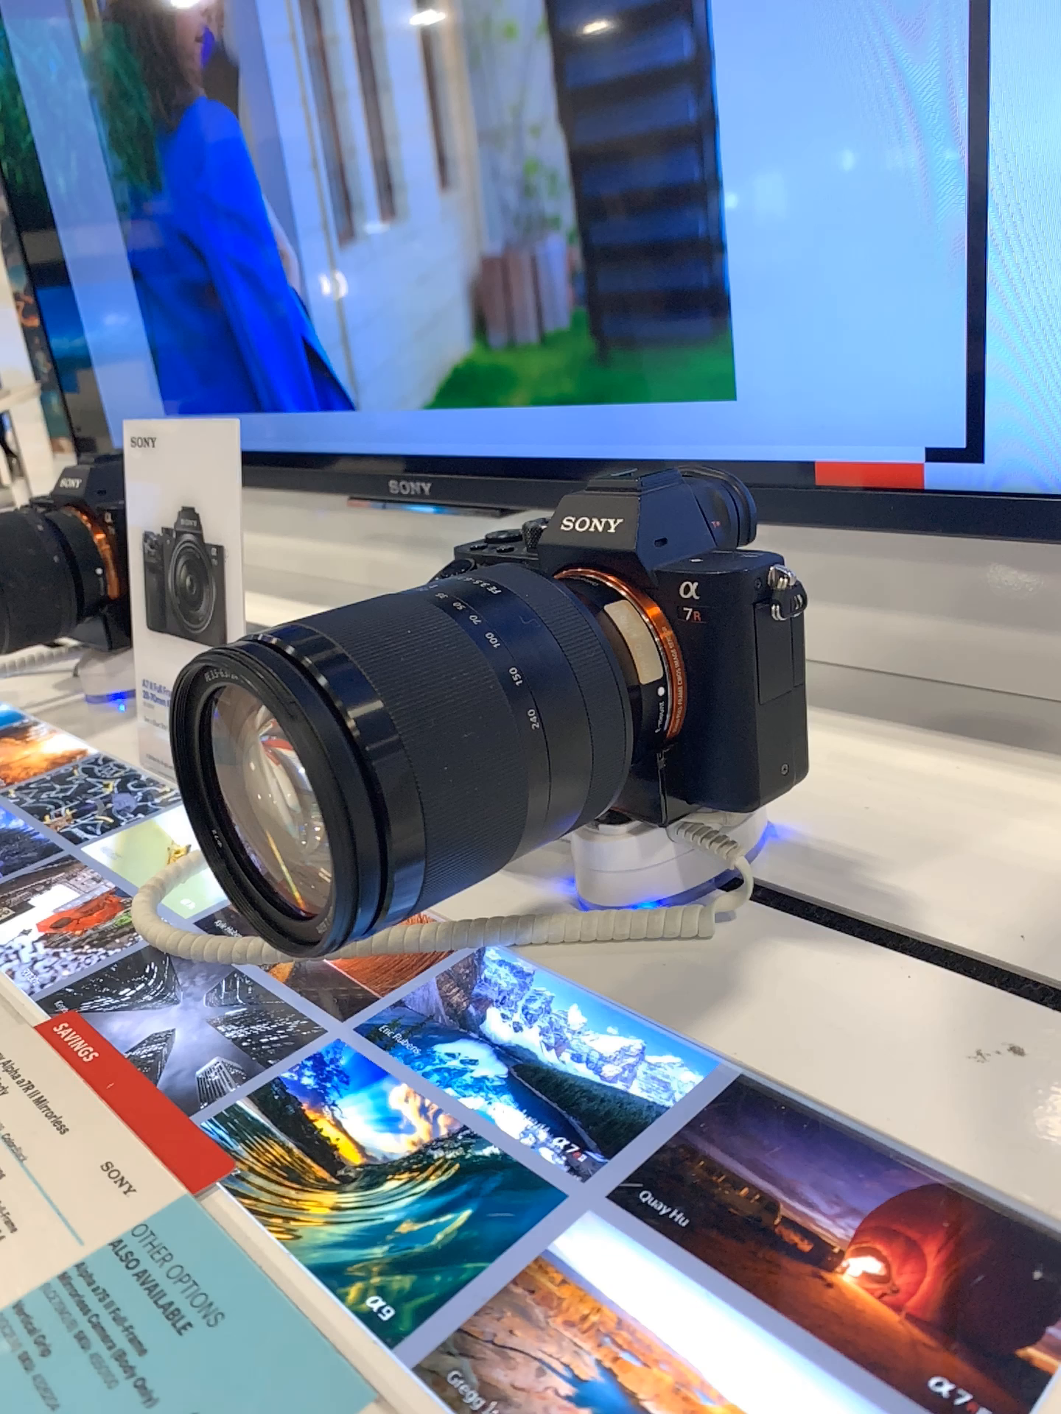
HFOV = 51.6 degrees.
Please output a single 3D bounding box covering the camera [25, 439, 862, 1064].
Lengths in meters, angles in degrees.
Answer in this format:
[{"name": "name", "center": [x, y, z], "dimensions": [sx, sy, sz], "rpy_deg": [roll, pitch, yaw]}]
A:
[{"name": "camera", "center": [-0.012, -0.011, 0.307], "dimensions": [0.128, 0.091, 0.184], "rpy_deg": [11, 27, 42]}]
